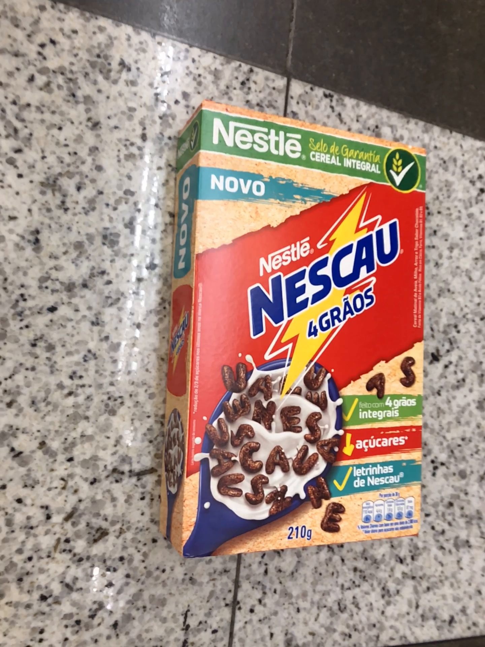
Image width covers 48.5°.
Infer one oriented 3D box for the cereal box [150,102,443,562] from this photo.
[{"bbox_3d":[0.038,0.007,0.335,0.171,0.050,0.240,3,87,-21],"label":"cereal box"}]
